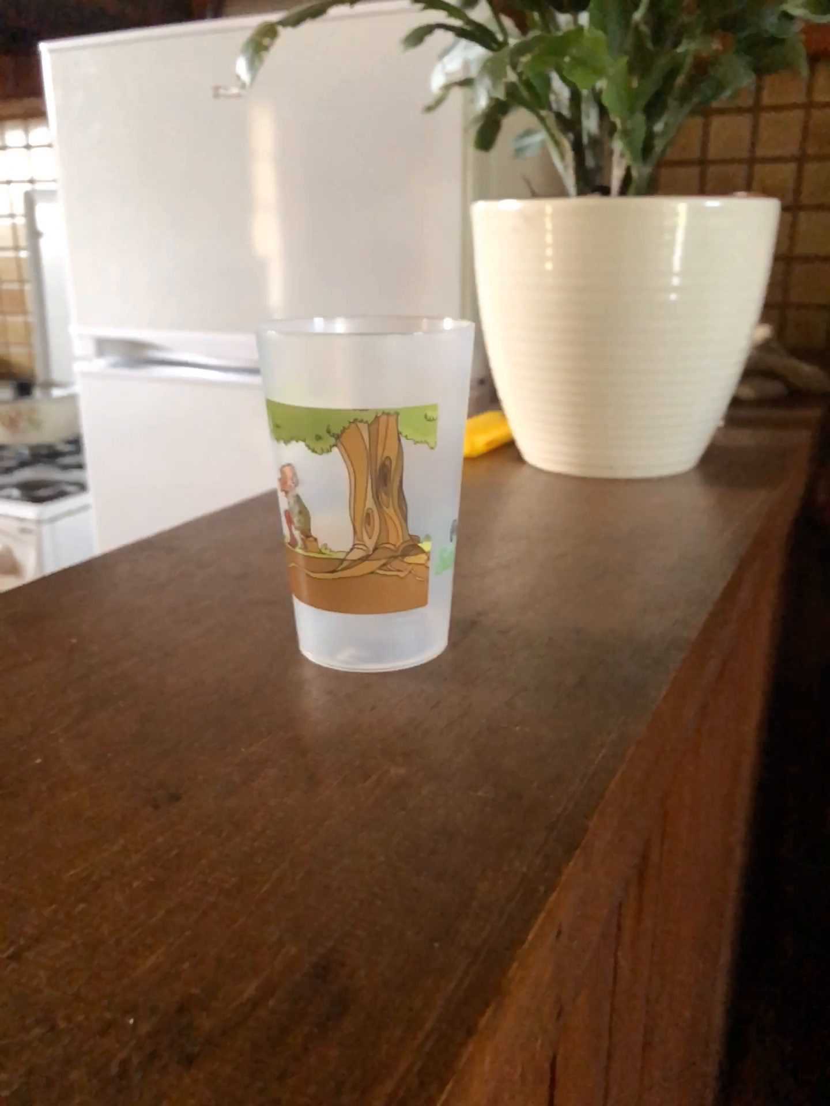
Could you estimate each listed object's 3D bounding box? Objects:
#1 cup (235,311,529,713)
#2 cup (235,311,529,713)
[{"bbox_3d":[-0.015,-0.021,0.327,0.080,0.119,0.080,0,18,0],"label":"cup"},{"bbox_3d":[-0.015,-0.021,0.327,0.080,0.119,0.080,0,18,0],"label":"cup"}]
